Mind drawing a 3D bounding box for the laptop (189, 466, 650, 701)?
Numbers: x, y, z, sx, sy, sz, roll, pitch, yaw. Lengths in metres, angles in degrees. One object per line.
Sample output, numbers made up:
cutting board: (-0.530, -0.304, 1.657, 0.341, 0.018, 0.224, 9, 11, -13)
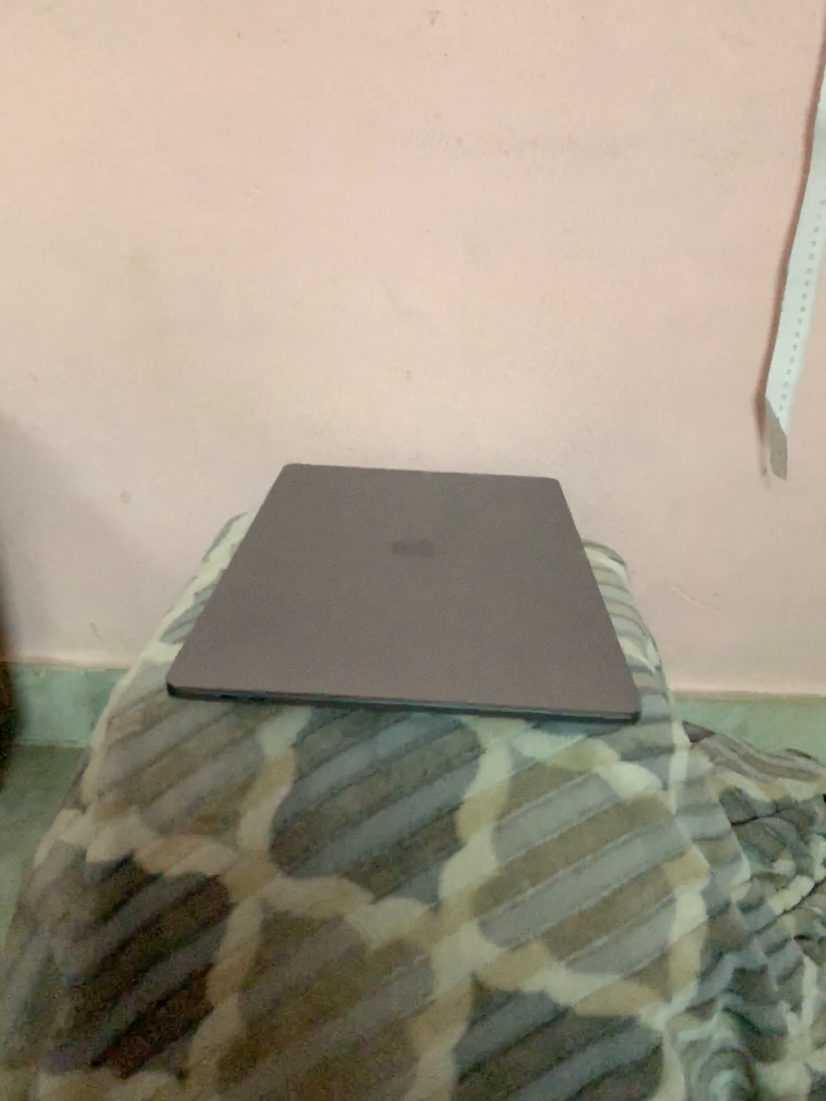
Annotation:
laptop: (0.009, 0.001, 0.560, 0.228, 0.002, 0.327, 2, 24, 3)
